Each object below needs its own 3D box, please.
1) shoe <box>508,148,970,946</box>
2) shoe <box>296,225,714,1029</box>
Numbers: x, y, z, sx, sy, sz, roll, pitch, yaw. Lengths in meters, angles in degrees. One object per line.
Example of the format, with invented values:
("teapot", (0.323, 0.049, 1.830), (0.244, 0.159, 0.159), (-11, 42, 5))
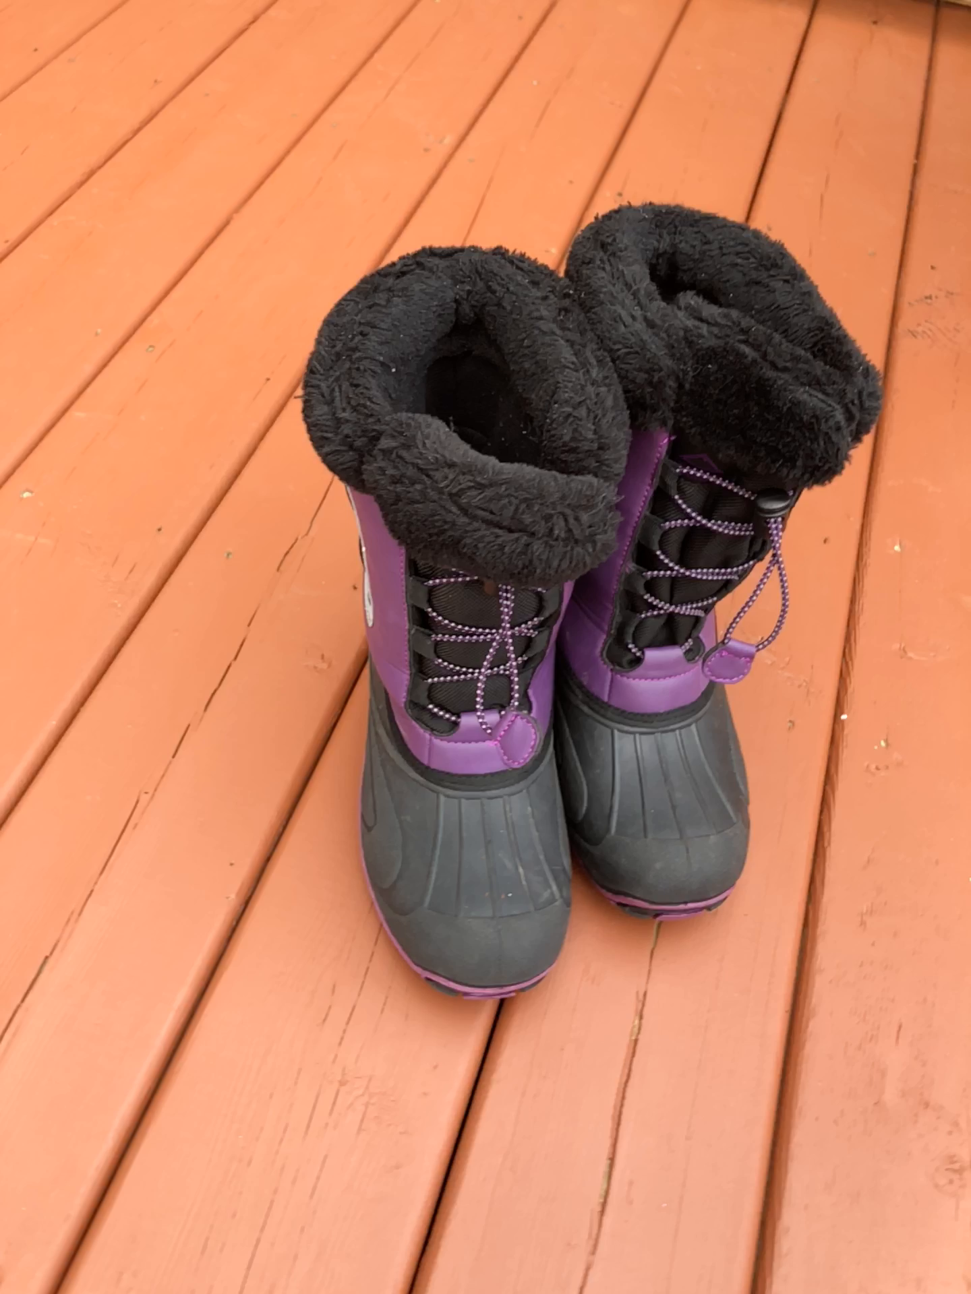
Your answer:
("shoe", (0.100, -0.035, 0.506), (0.120, 0.279, 0.241), (-5, 53, -8))
("shoe", (-0.012, 0.004, 0.490), (0.120, 0.279, 0.241), (-2, 53, -6))
